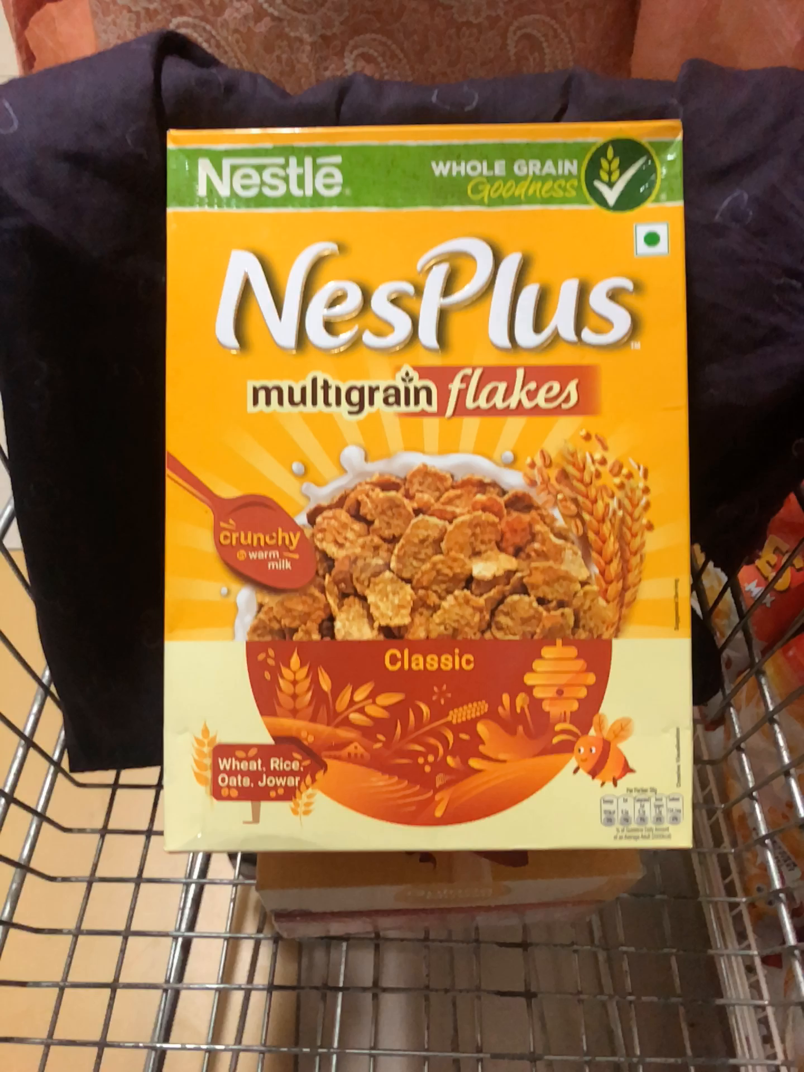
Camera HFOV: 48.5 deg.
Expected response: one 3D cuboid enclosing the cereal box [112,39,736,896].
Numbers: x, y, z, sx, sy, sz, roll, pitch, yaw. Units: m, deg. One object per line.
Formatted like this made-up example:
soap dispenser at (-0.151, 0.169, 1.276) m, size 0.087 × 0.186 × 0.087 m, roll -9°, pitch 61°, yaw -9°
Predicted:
cereal box at (0.007, -0.021, 0.316) m, size 0.190 × 0.080 × 0.260 m, roll -1°, pitch 93°, yaw -3°
